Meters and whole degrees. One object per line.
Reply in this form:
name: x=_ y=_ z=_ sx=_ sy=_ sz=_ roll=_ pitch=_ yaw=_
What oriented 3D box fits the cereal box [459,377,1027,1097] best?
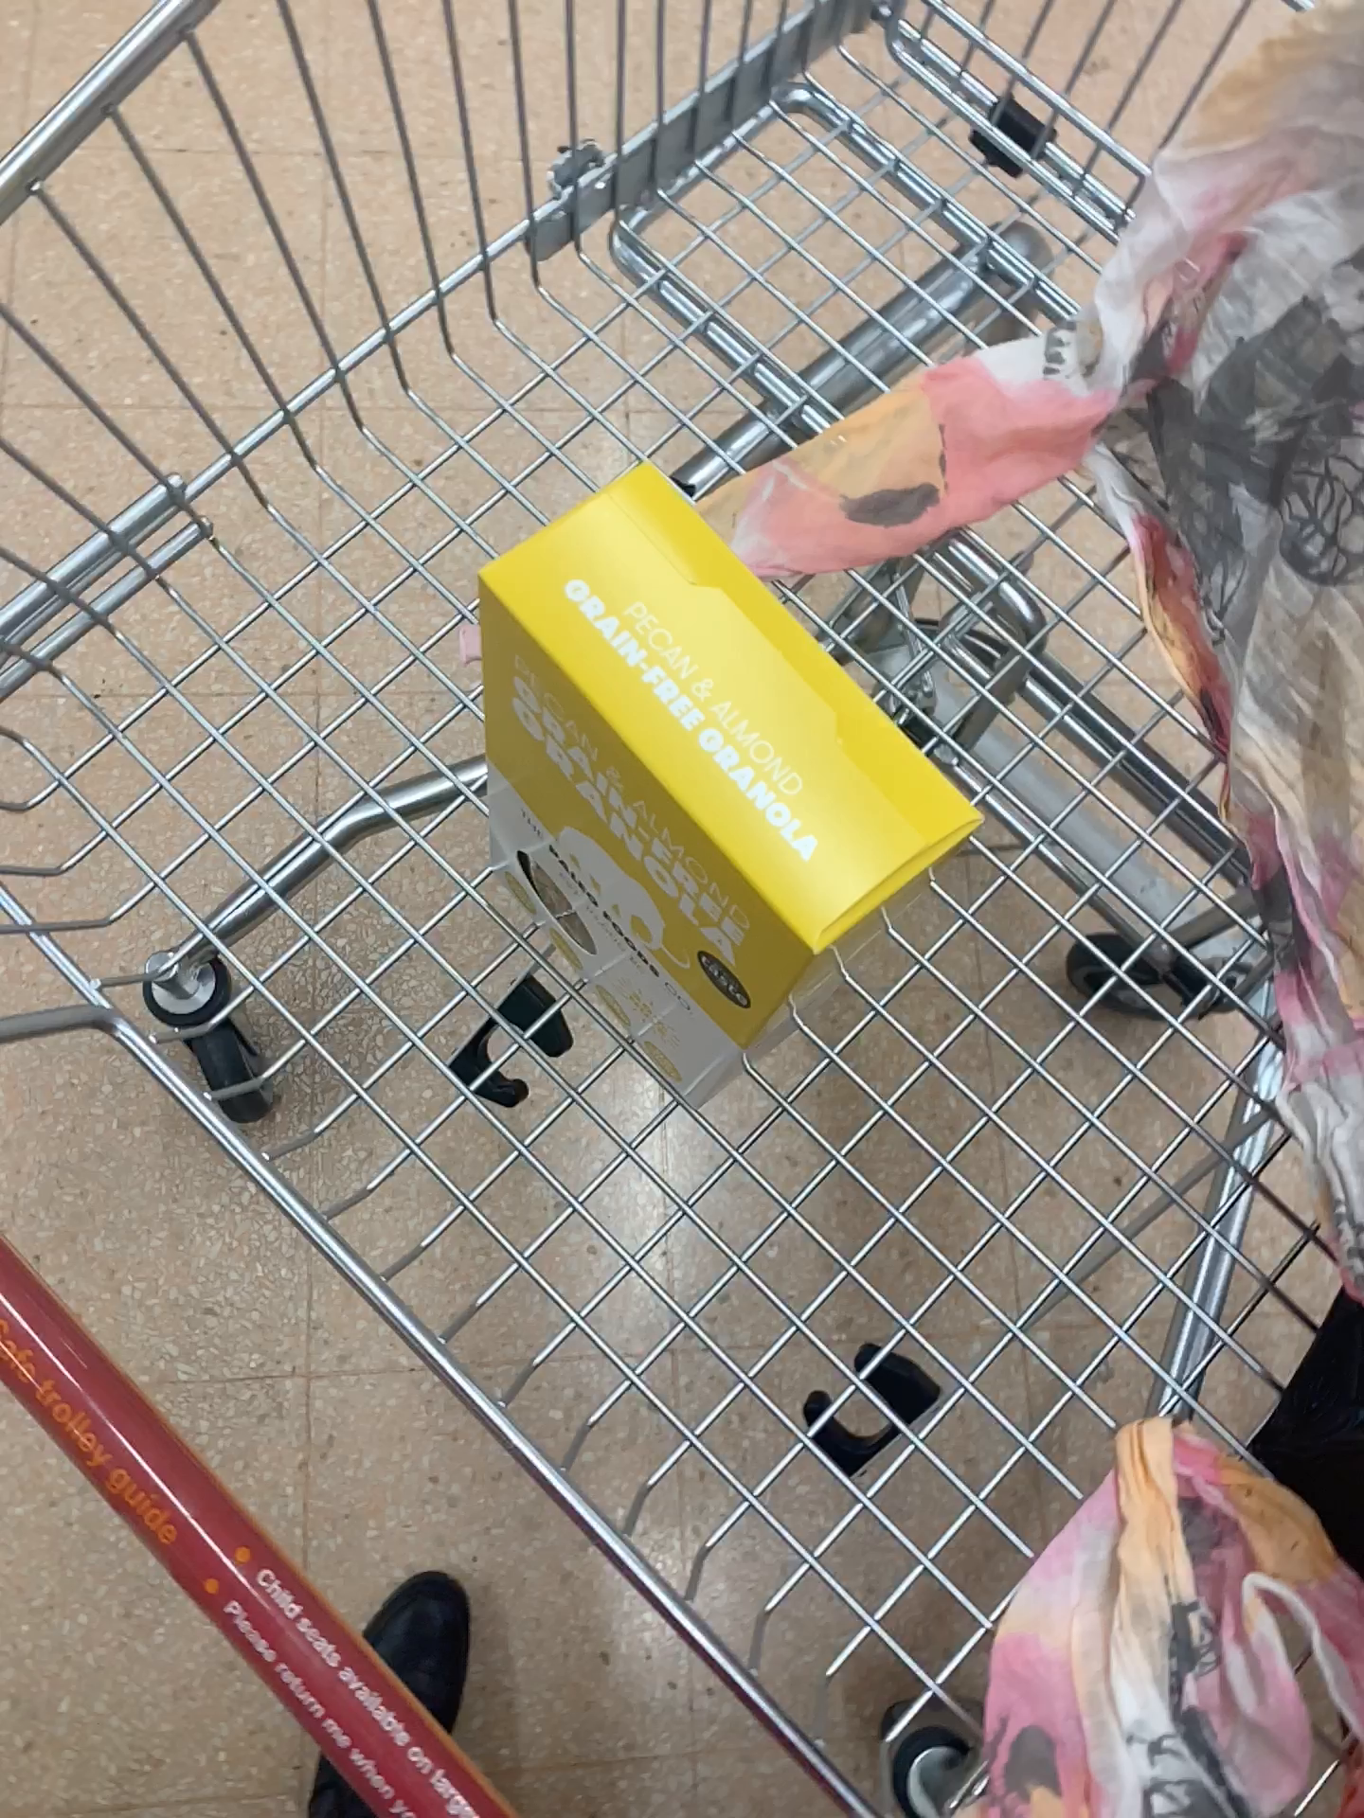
cereal box: x=-0.001 y=-0.030 z=0.415 sx=0.060 sy=0.209 sz=0.130 roll=-38 pitch=81 yaw=-17
